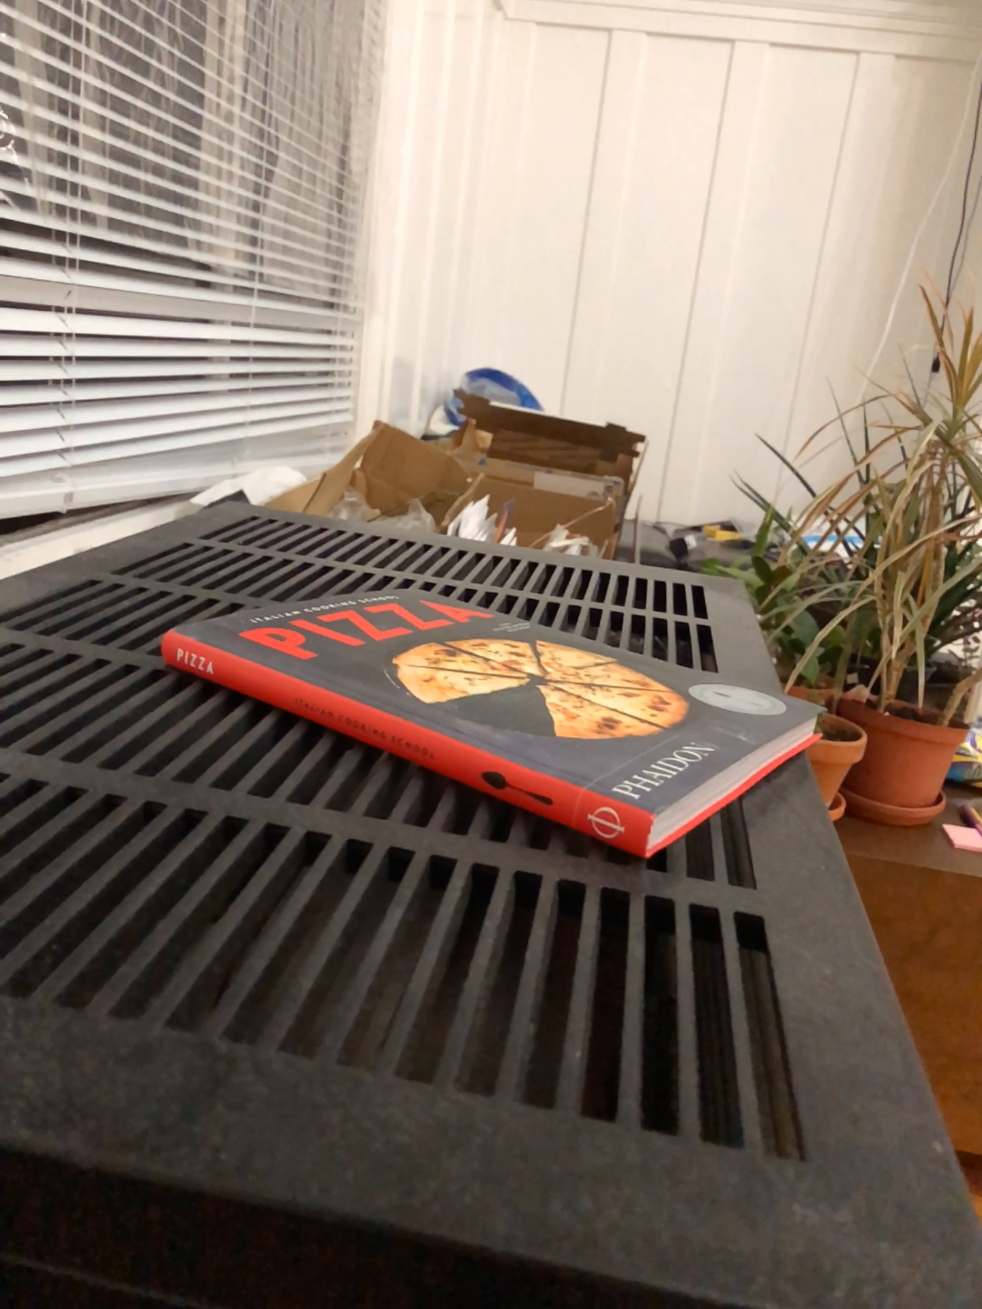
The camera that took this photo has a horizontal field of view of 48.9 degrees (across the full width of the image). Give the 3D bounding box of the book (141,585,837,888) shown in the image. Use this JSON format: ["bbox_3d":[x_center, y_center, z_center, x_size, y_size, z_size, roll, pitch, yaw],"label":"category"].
[{"bbox_3d":[0.002,0.016,0.453,0.230,0.020,0.181,17,19,31],"label":"book"}]
